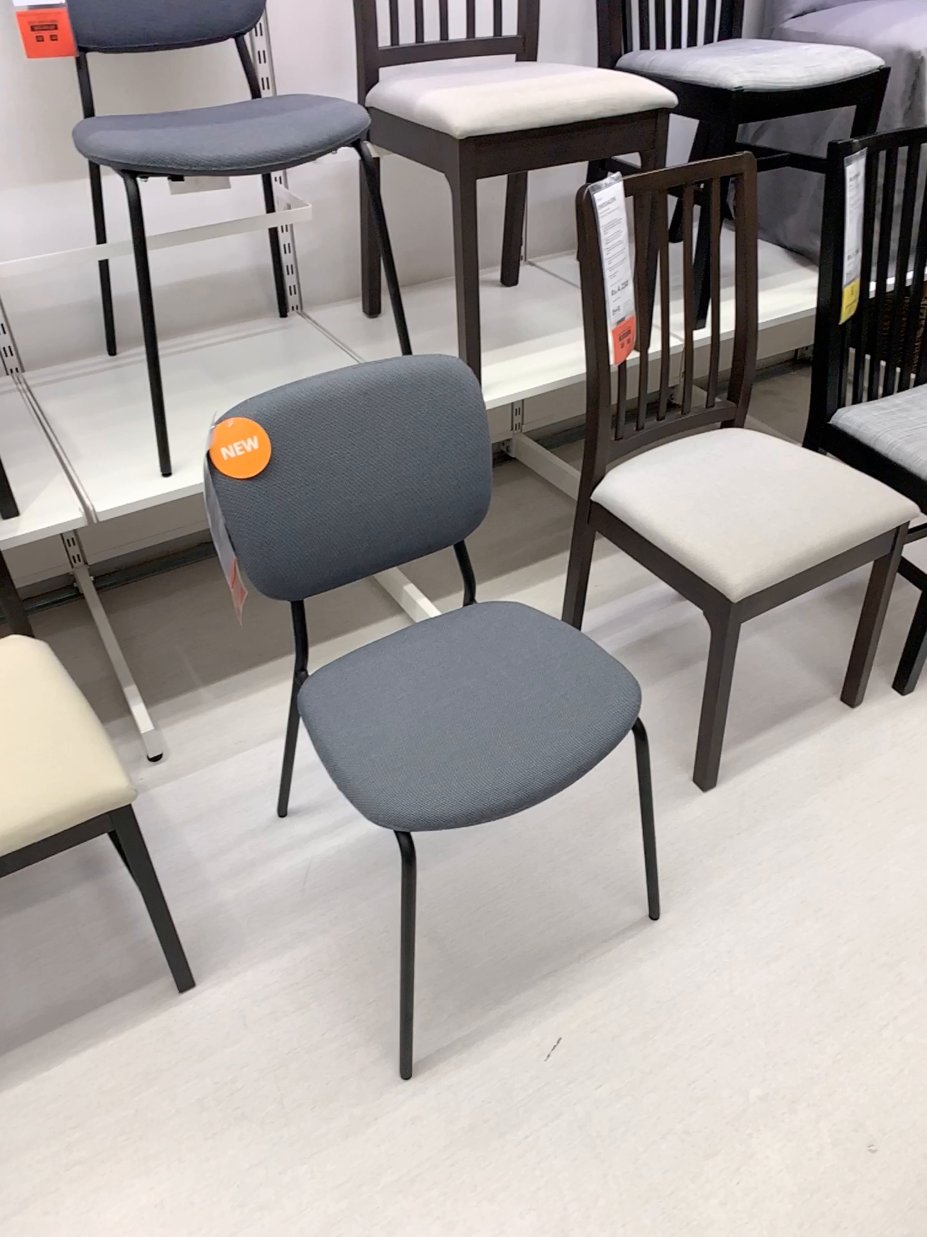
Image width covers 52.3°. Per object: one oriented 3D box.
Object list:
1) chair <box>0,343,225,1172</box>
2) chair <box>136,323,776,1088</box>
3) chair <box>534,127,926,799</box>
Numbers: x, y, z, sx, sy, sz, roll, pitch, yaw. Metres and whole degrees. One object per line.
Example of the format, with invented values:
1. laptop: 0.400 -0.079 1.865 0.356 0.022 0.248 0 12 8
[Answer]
1. chair: -0.705 0.170 1.230 0.480 0.806 0.532 -22 43 -24
2. chair: -0.031 0.096 1.349 0.520 0.757 0.592 -23 43 -24
3. chair: 0.486 -0.267 1.647 0.480 0.926 0.532 -23 43 -24
